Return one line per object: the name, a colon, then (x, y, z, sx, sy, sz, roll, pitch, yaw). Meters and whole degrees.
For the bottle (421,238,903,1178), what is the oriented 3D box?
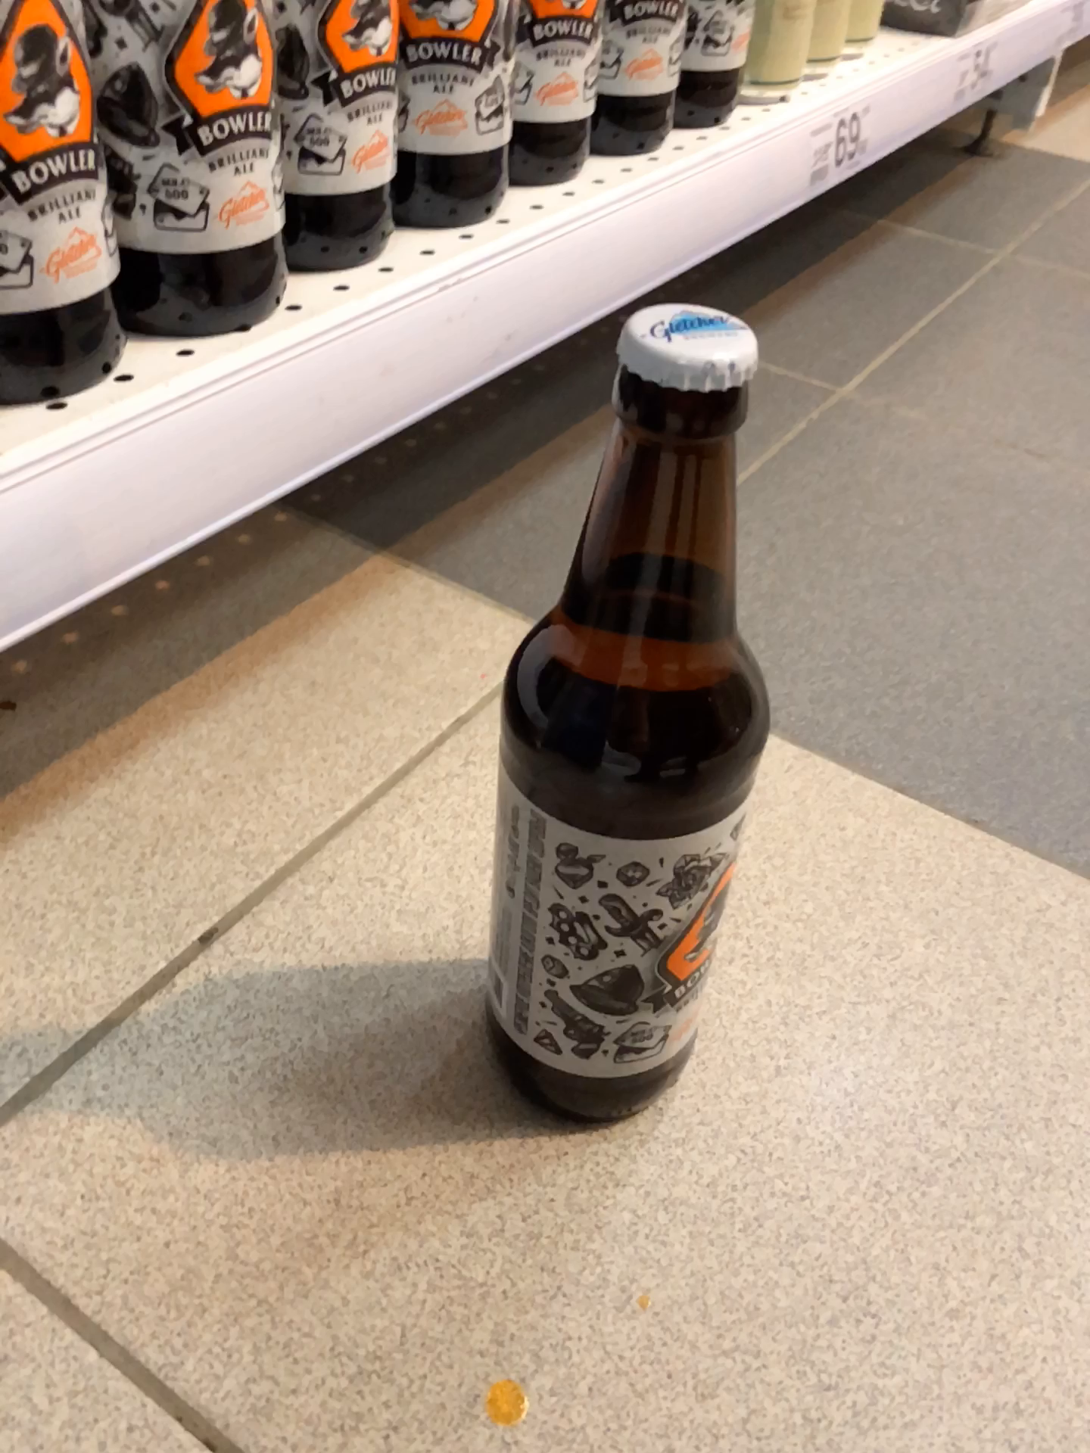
bottle: (0.019, 0.011, 0.318, 0.070, 0.239, 0.075, 3, 41, -2)
